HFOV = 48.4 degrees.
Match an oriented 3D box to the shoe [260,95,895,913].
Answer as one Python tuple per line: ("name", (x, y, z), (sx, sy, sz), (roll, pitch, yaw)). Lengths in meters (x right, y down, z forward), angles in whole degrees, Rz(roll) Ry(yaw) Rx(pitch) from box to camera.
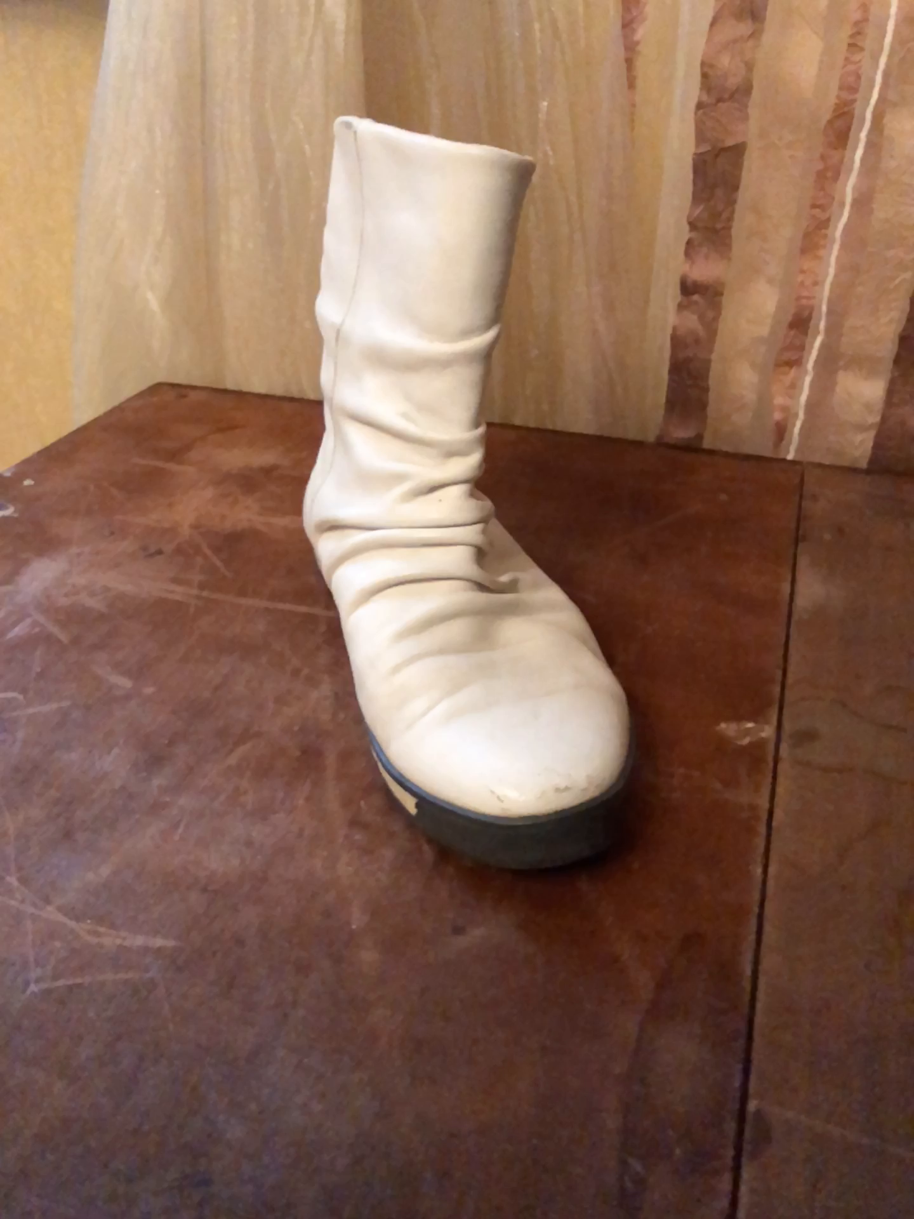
("shoe", (0.005, -0.061, 0.329), (0.100, 0.169, 0.241), (-7, 32, -13))
